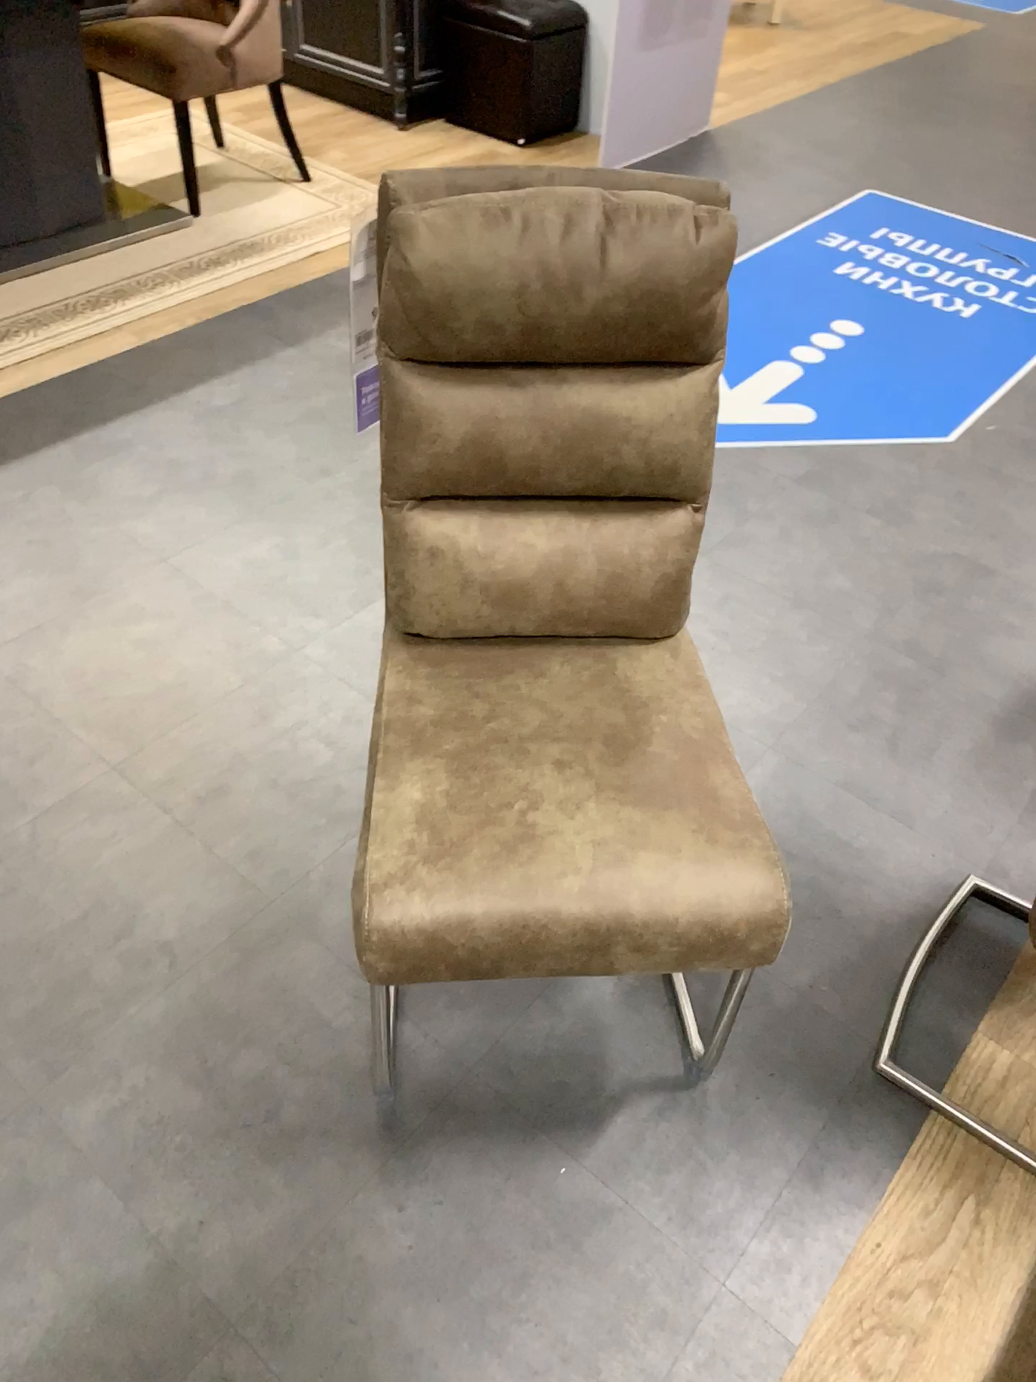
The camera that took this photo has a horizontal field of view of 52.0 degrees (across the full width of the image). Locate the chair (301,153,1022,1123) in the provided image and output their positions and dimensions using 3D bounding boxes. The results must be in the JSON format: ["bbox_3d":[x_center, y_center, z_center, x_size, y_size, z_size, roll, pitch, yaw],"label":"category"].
[{"bbox_3d":[0.054,-0.008,1.283,0.500,0.995,0.603,-1,44,-6],"label":"chair"}]
